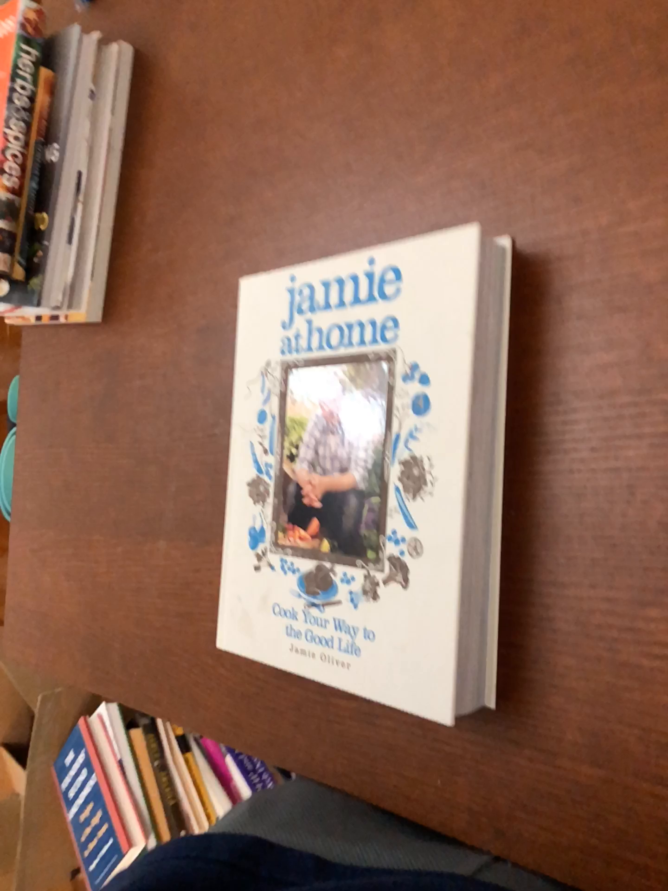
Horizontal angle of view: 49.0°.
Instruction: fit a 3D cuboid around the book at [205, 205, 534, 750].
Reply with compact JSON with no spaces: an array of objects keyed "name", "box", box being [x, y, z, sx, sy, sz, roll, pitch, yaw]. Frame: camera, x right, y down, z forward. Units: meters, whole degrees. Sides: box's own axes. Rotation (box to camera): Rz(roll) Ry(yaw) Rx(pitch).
[{"name":"book","box":[0.009,0.013,0.439,0.211,0.040,0.260,1,86,46]}]
